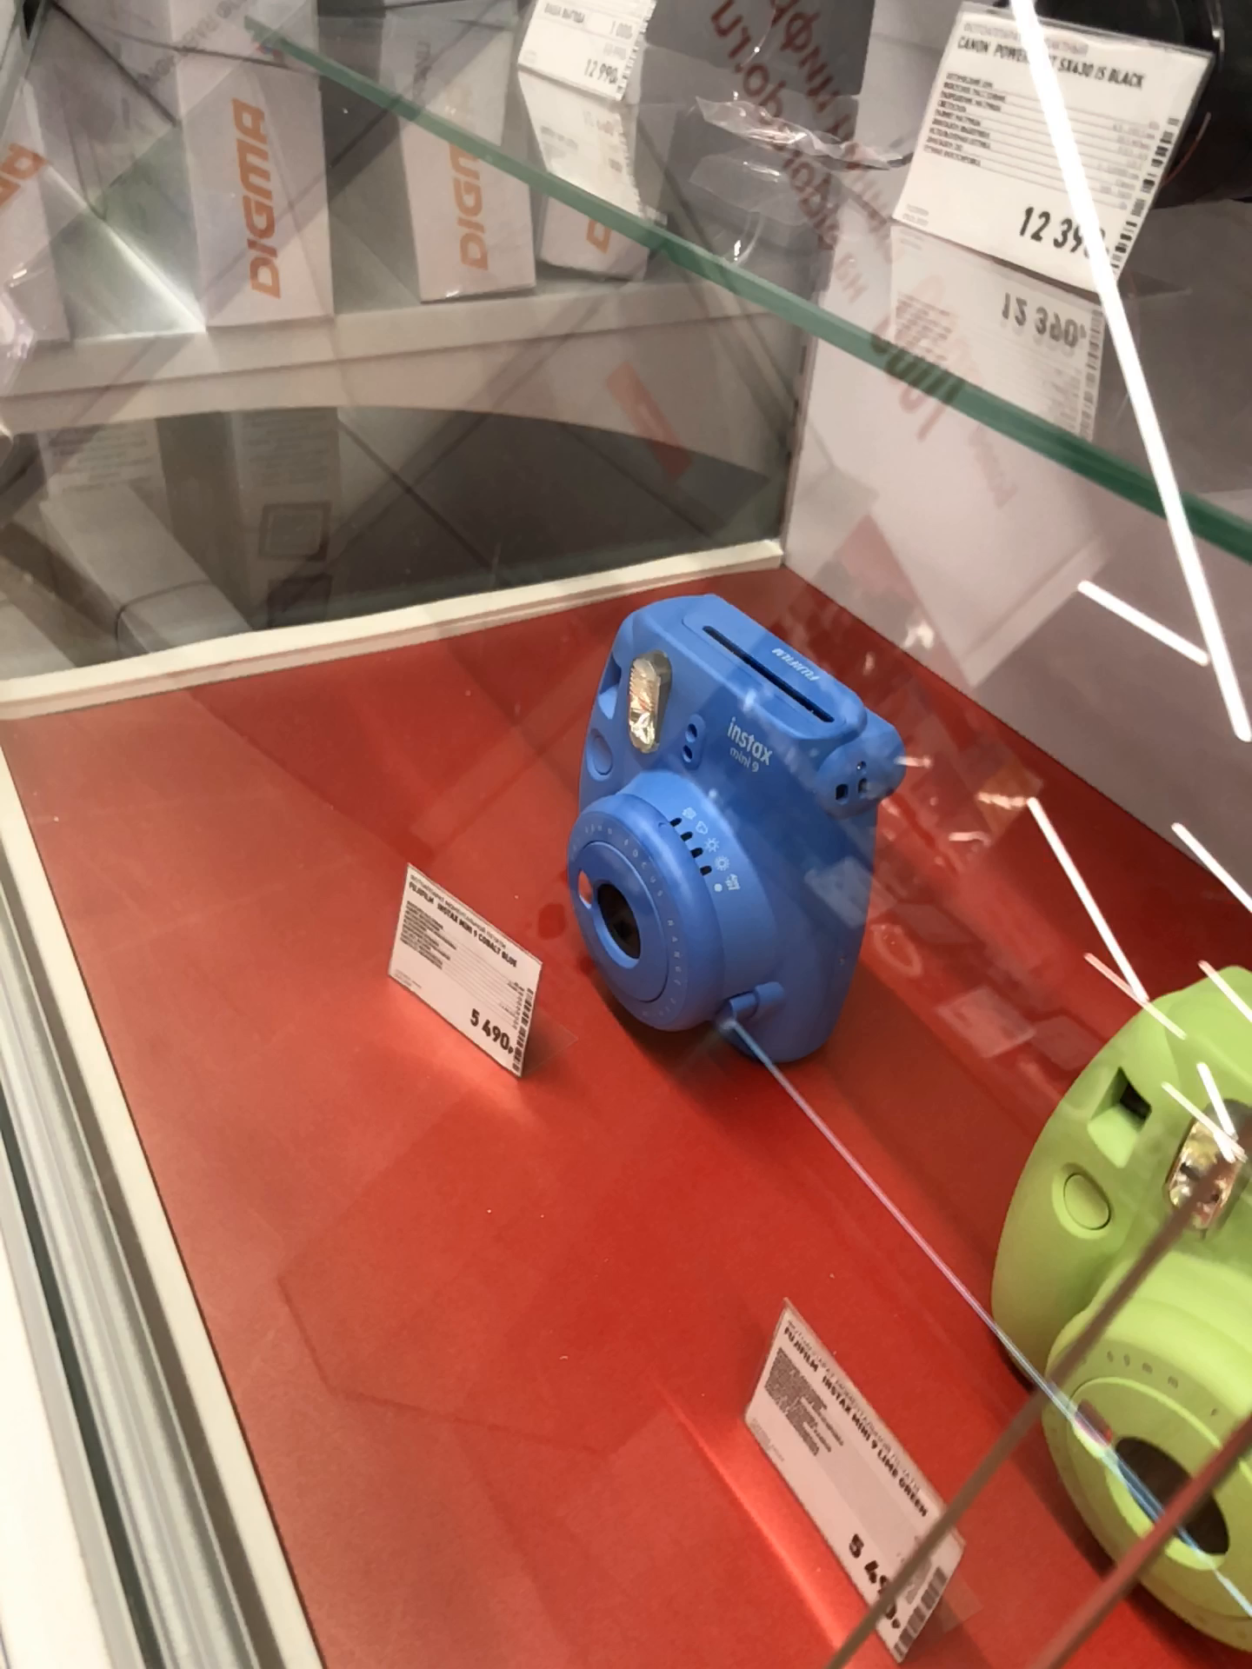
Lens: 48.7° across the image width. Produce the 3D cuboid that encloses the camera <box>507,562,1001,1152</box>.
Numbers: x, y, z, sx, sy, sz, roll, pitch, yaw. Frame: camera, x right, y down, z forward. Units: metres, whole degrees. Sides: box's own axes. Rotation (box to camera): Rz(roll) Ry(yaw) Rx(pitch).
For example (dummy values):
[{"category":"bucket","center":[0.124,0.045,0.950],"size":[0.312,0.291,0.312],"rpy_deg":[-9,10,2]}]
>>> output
[{"category":"camera","center":[0.028,0.001,0.407],"size":[0.070,0.109,0.123],"rpy_deg":[-20,43,-30]}]
